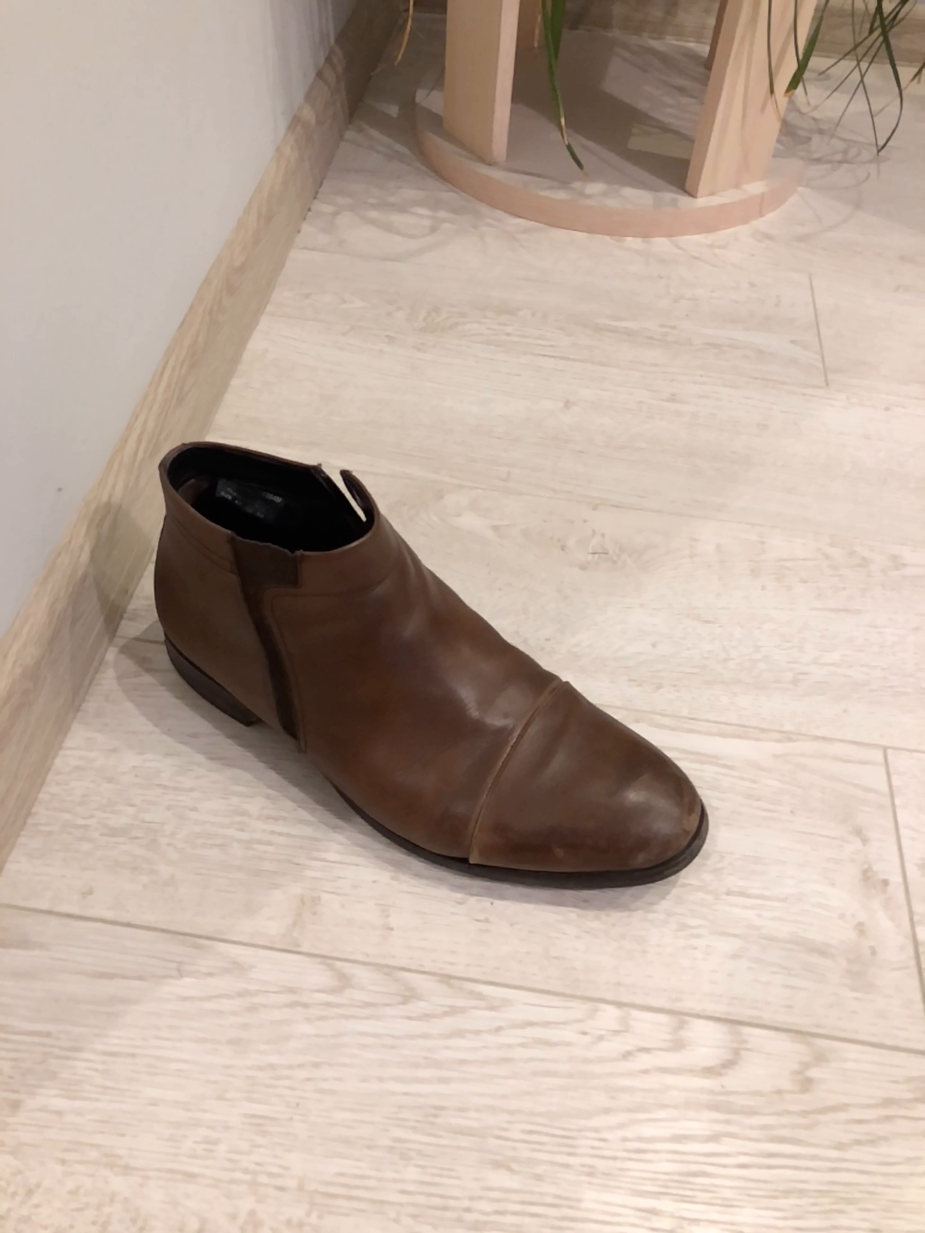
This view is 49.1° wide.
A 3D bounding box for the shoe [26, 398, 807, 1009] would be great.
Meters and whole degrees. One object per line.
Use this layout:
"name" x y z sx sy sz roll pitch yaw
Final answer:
"shoe" -0.026 0.027 0.465 0.310 0.109 0.121 25 52 18
